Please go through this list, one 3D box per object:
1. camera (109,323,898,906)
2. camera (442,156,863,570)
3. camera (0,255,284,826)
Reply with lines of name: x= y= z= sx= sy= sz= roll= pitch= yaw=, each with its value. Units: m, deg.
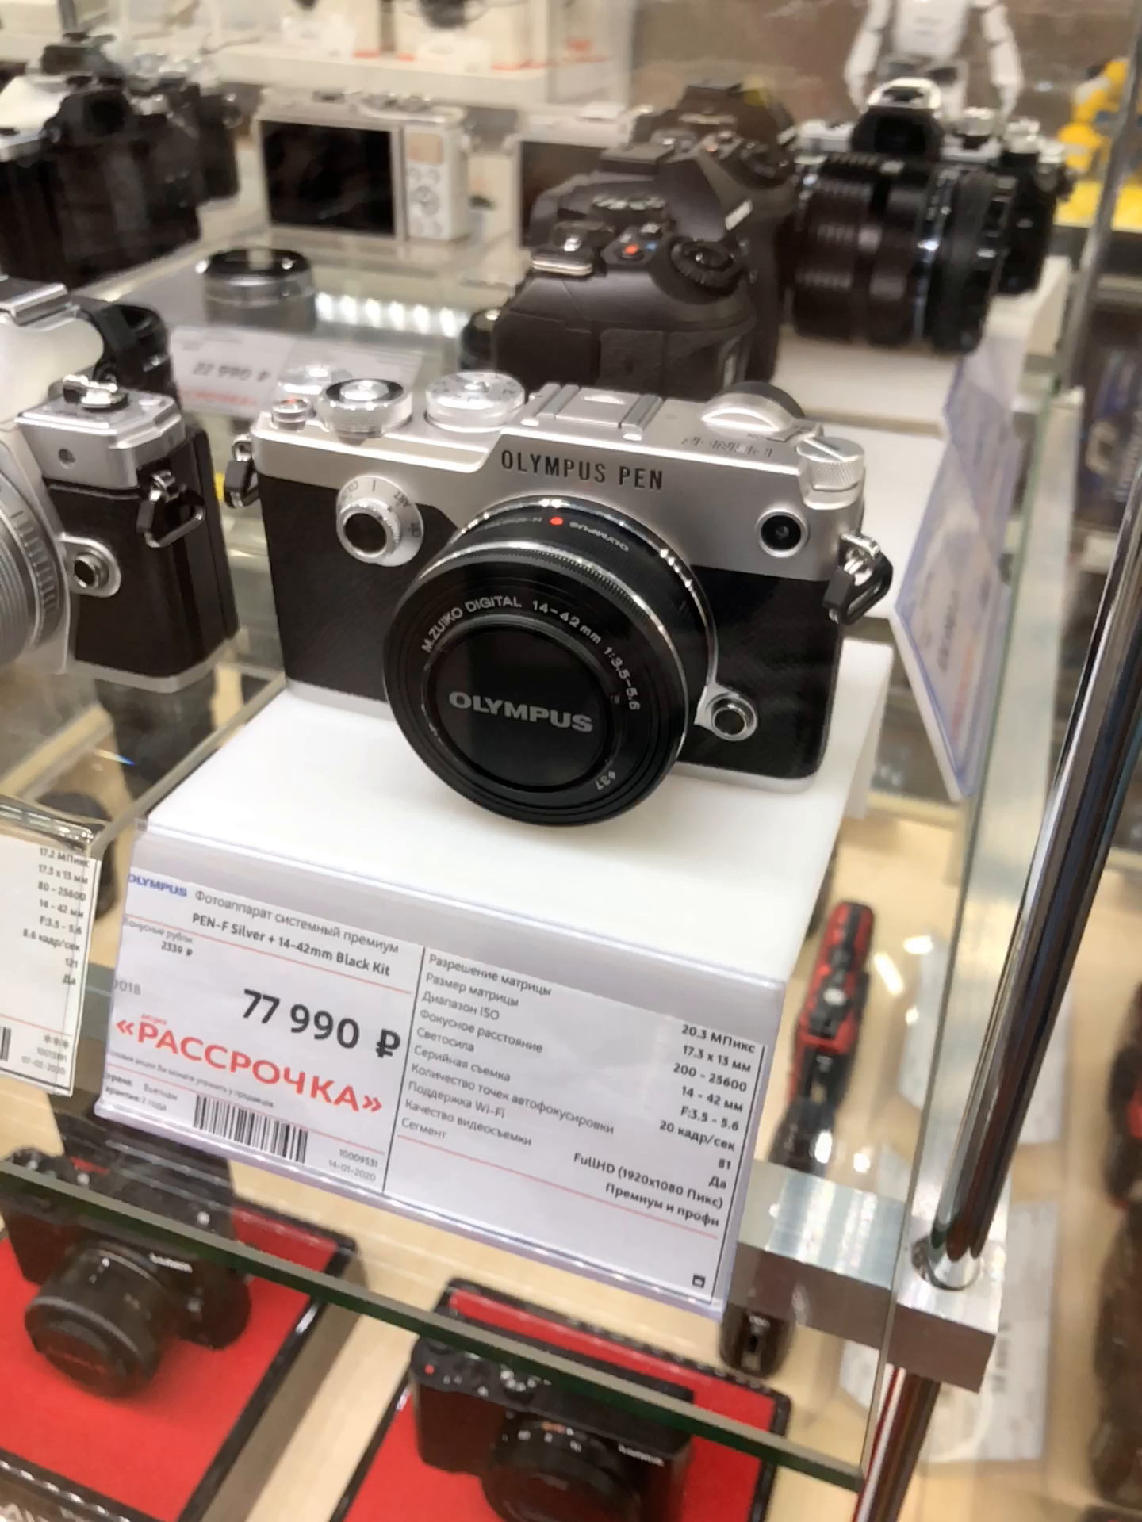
camera: x=-0.009 y=-0.036 z=0.256 sx=0.127 sy=0.070 sz=0.077 roll=12 pitch=35 yaw=15
camera: x=0.028 y=-0.122 z=0.371 sx=0.083 sy=0.075 sz=0.128 roll=12 pitch=35 yaw=15
camera: x=-0.150 y=-0.058 z=0.287 sx=0.127 sy=0.075 sz=0.099 roll=13 pitch=36 yaw=16
